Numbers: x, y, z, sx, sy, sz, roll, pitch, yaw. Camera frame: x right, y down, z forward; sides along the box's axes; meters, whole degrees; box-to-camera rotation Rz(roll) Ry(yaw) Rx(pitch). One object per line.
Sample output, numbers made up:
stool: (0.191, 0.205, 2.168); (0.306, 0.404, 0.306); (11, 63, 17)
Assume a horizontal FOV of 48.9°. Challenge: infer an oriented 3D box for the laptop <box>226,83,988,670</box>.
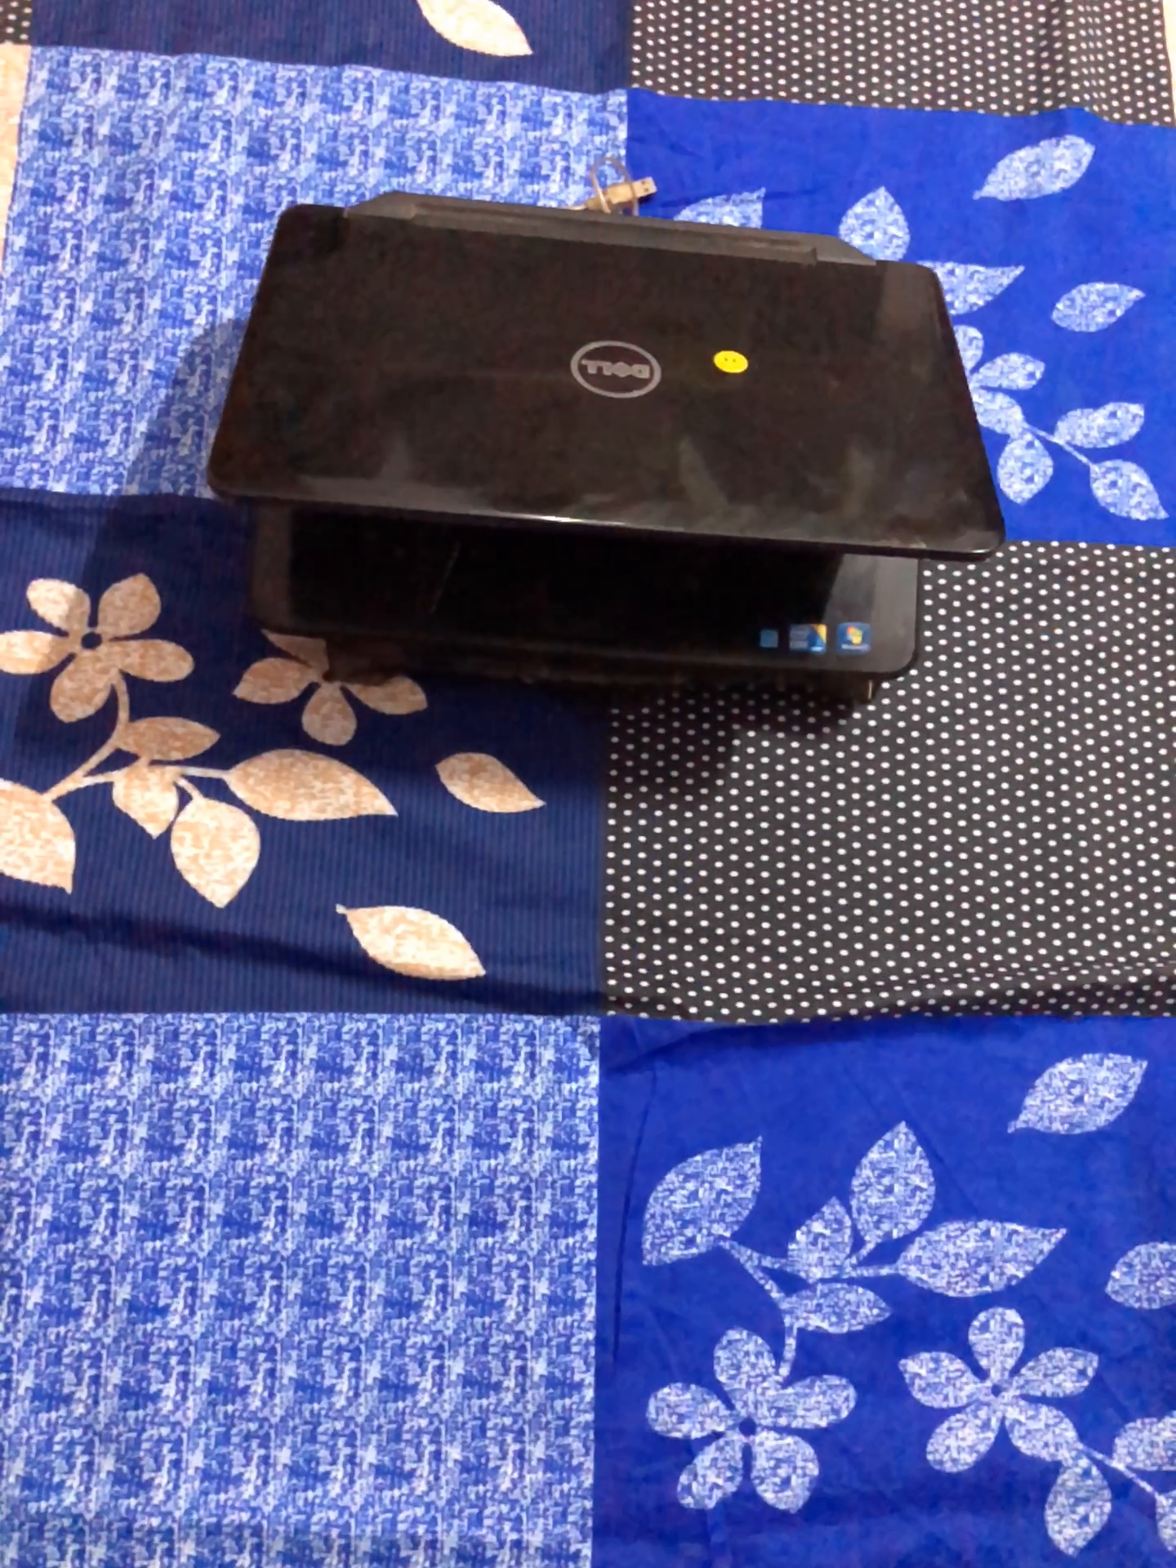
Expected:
laptop: (0.014, -0.203, 0.678); (0.362, 0.093, 0.235); (4, 82, -5)
